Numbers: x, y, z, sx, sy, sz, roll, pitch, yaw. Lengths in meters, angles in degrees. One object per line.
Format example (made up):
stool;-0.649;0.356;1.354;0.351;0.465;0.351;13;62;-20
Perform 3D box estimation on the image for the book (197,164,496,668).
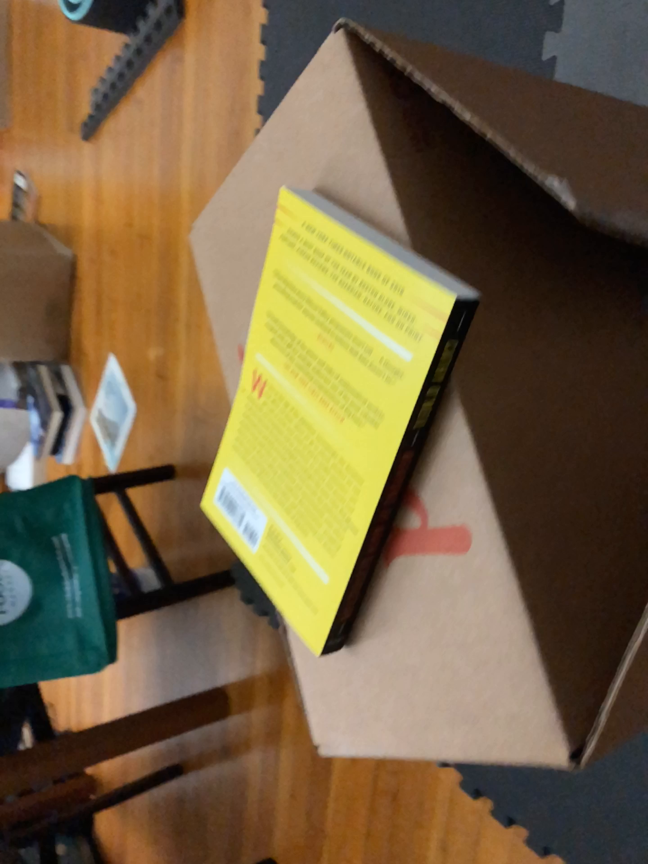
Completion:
book;-0.008;-0.008;0.385;0.151;0.020;0.220;46;129;41
